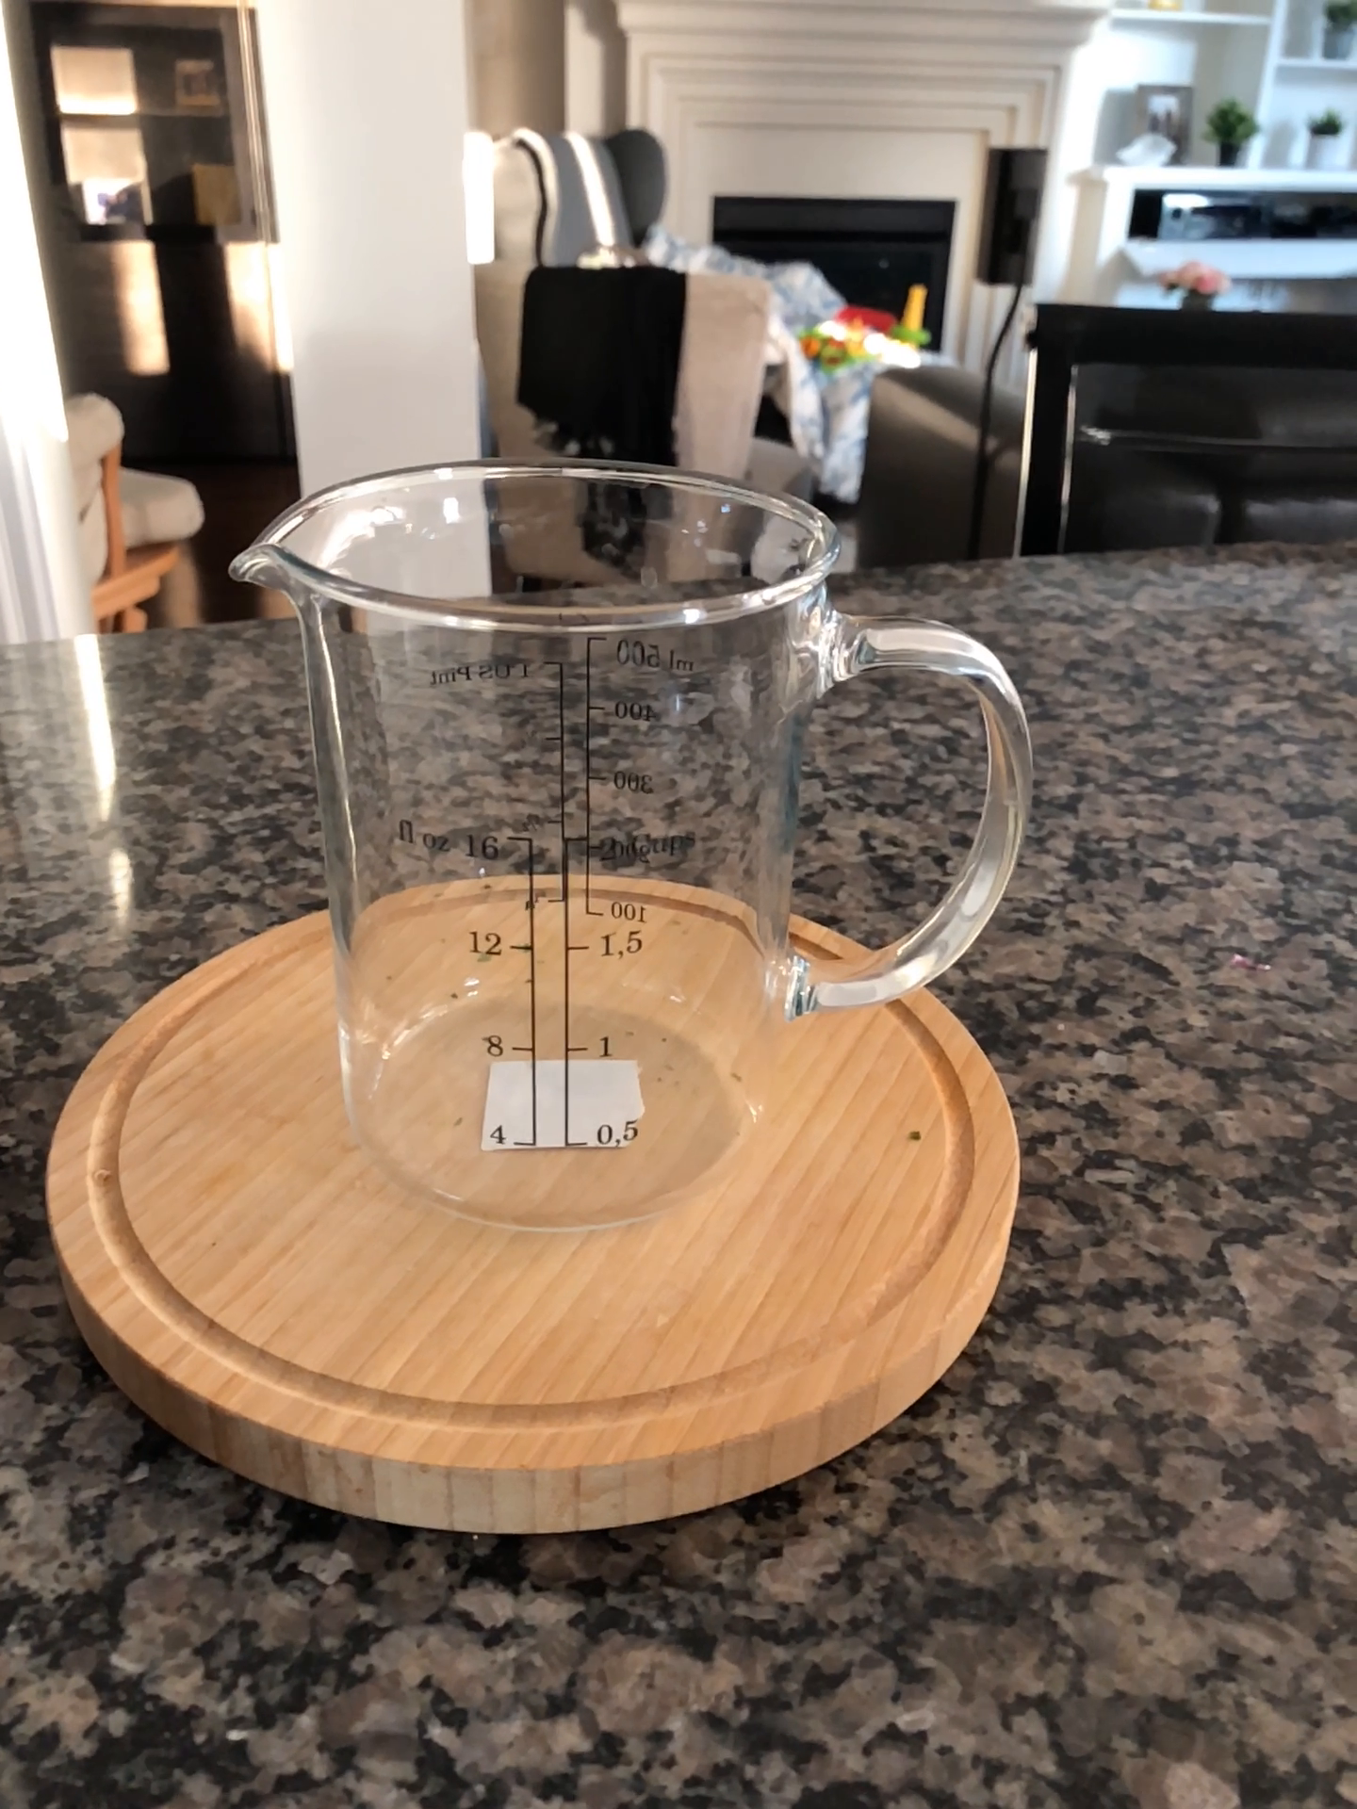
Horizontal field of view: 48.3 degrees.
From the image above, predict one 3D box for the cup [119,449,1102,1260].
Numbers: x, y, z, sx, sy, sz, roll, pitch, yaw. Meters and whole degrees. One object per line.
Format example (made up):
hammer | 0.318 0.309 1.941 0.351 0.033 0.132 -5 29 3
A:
cup | -0.014 -0.015 0.307 0.150 0.128 0.106 -1 28 -5
